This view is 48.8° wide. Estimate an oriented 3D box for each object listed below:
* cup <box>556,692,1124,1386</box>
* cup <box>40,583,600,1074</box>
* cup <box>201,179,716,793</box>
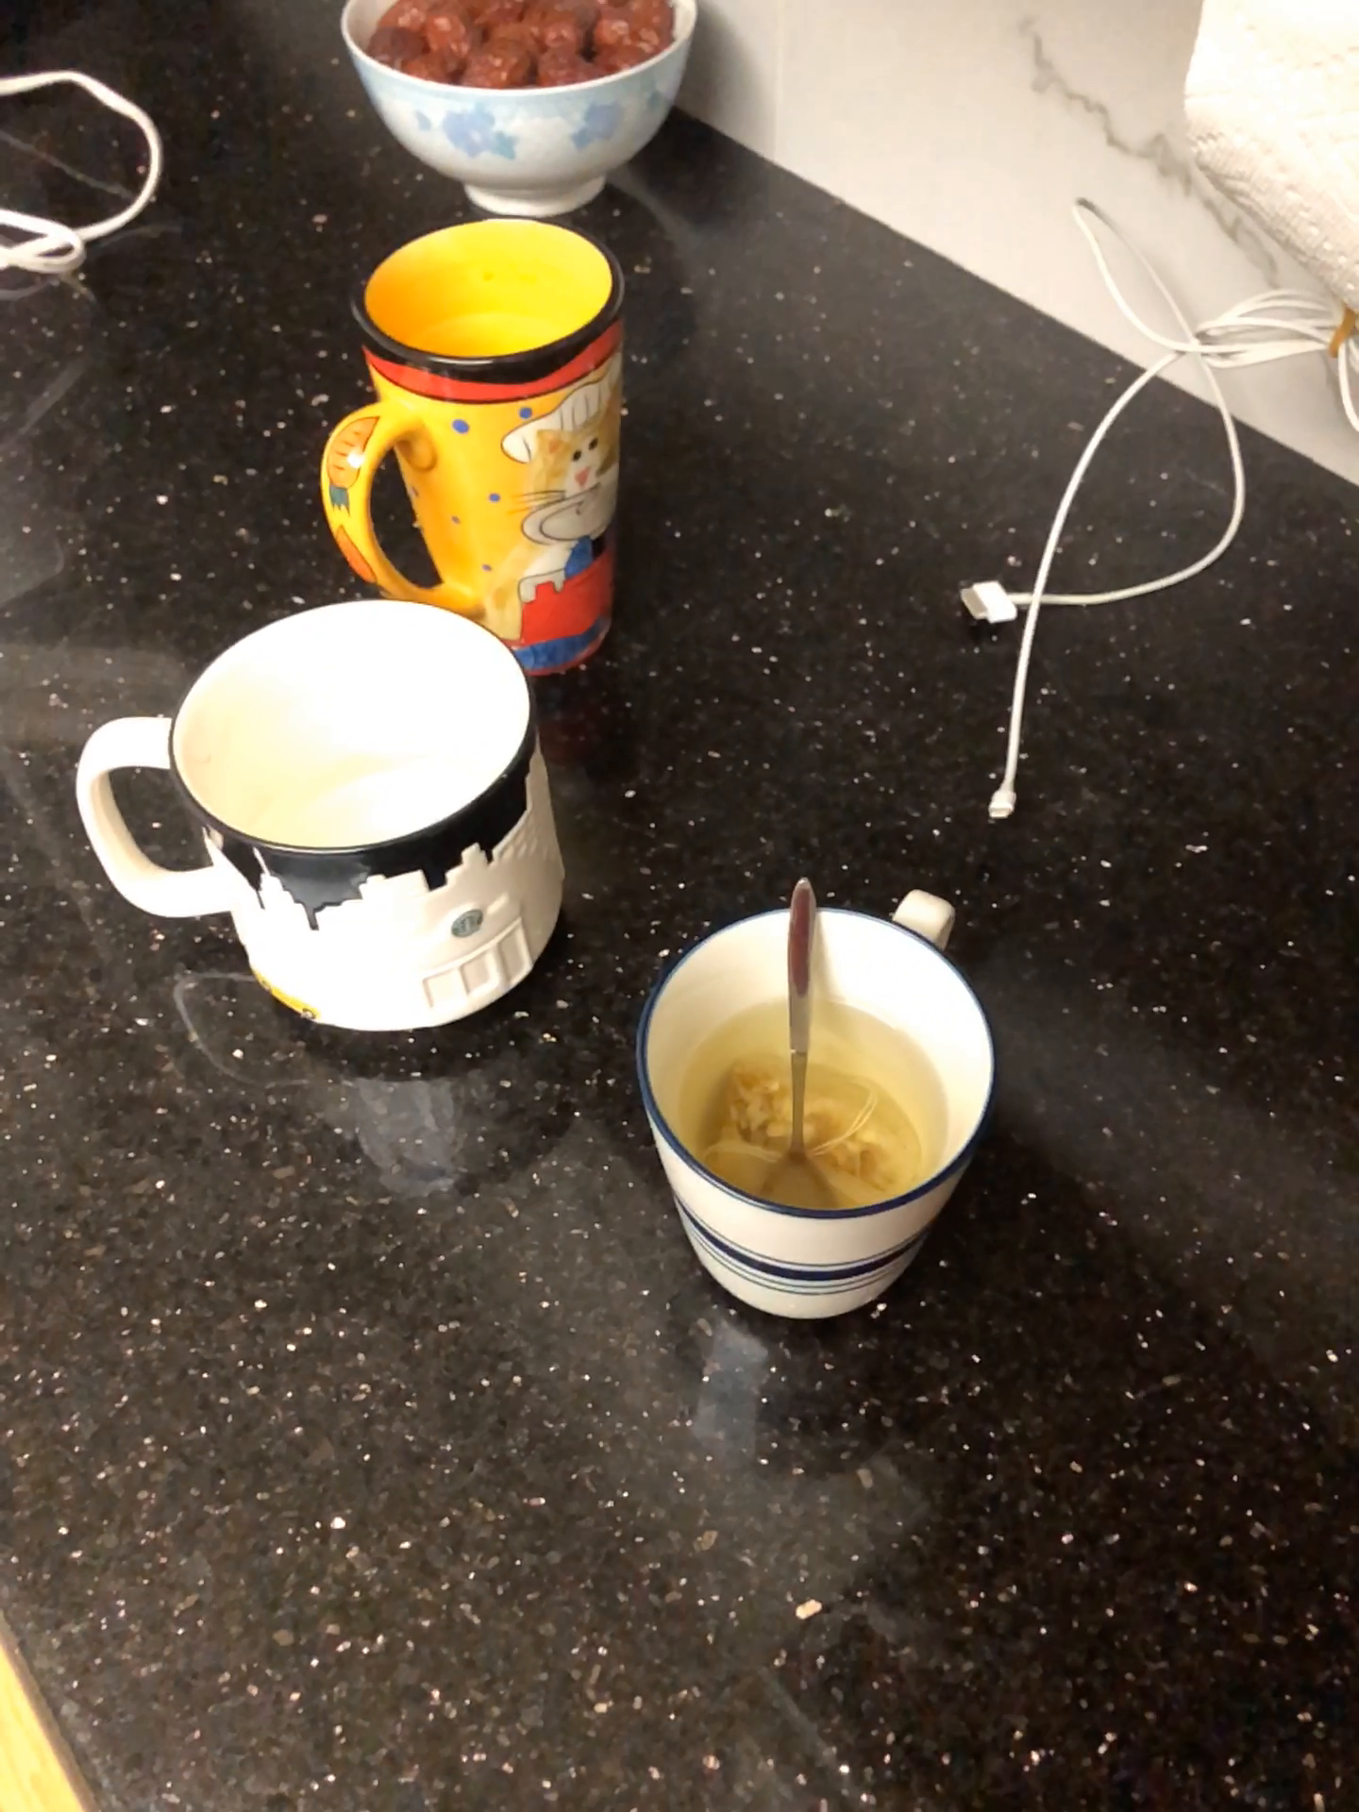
[{"bbox_3d":[0.043,0.032,0.391,0.090,0.090,0.130,21,56,17],"label":"cup"},{"bbox_3d":[-0.099,-0.024,0.461,0.140,0.090,0.110,-4,52,-1],"label":"cup"},{"bbox_3d":[-0.064,-0.145,0.516,0.090,0.129,0.140,28,58,21],"label":"cup"}]
